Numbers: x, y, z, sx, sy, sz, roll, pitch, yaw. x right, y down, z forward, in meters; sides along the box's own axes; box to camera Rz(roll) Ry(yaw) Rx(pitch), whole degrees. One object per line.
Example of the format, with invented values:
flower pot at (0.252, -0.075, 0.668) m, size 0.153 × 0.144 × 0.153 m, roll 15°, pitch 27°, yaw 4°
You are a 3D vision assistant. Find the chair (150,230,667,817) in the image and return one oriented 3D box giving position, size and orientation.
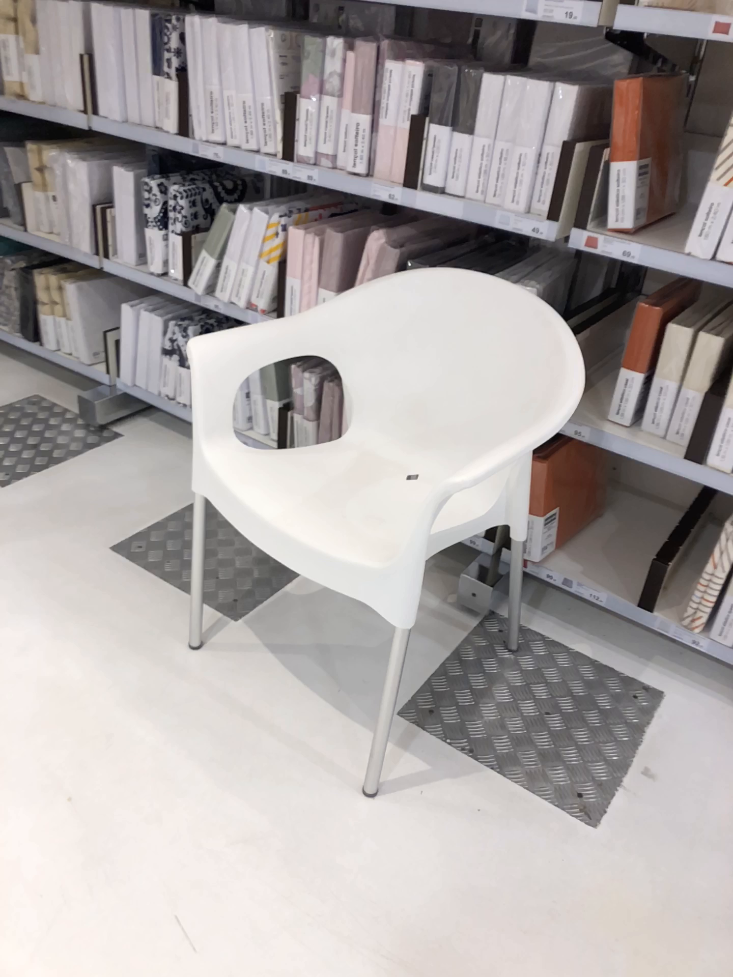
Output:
chair at (0.042, 0.000, 1.428) m, size 0.591 × 0.705 × 0.553 m, roll 29°, pitch 38°, yaw 34°
